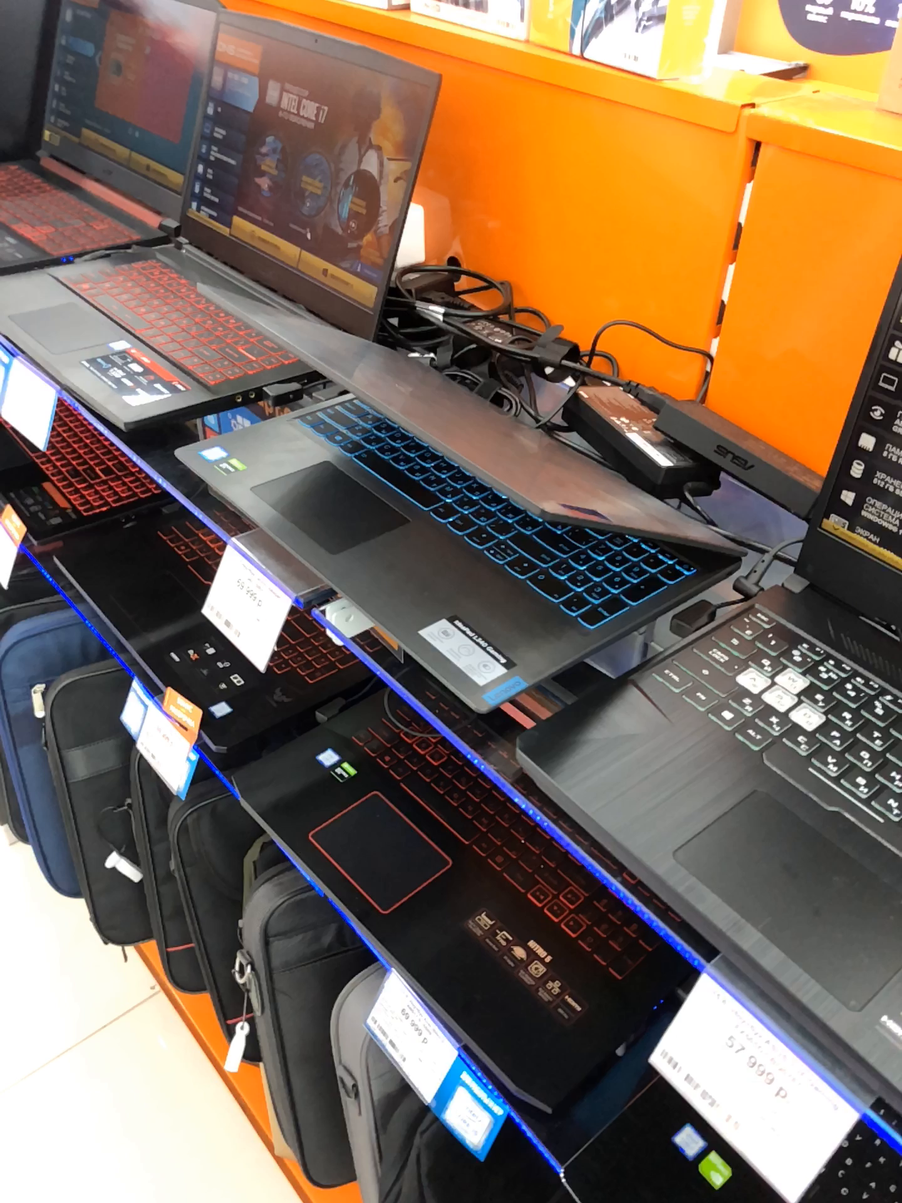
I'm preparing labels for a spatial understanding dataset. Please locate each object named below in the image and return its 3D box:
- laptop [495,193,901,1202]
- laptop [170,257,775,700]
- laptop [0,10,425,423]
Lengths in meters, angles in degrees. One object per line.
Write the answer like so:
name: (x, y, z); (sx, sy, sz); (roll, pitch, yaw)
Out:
laptop: (0.263, 0.020, 0.422); (0.278, 0.250, 0.385); (-24, 44, -31)
laptop: (-0.001, -0.117, 0.699); (0.241, 0.117, 0.348); (-25, 44, -32)
laptop: (-0.260, -0.389, 0.934); (0.326, 0.228, 0.349); (-26, 47, -33)
